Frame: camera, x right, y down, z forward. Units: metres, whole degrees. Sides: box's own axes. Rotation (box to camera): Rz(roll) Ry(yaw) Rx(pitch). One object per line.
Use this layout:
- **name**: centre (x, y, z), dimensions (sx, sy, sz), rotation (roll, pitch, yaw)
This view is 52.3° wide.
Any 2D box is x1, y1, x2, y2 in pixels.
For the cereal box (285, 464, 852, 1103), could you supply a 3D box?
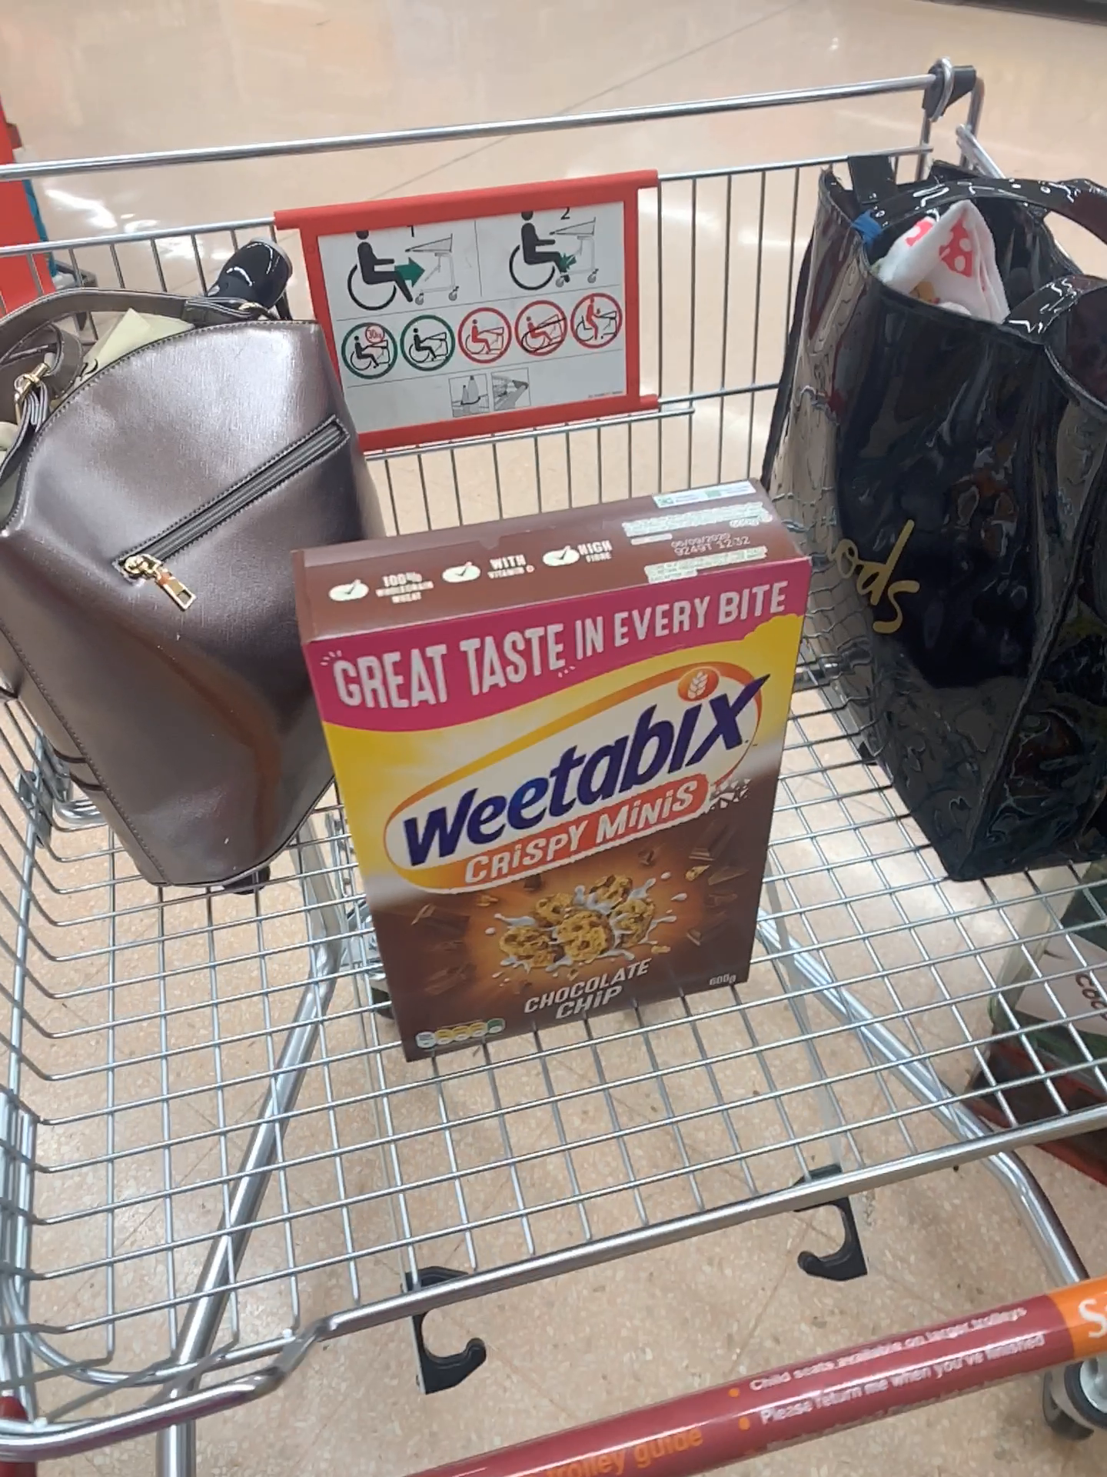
- **cereal box**: centre (0.005, 0.042, 0.555), dimensions (0.210, 0.327, 0.071), rotation (-11, 46, -11)
